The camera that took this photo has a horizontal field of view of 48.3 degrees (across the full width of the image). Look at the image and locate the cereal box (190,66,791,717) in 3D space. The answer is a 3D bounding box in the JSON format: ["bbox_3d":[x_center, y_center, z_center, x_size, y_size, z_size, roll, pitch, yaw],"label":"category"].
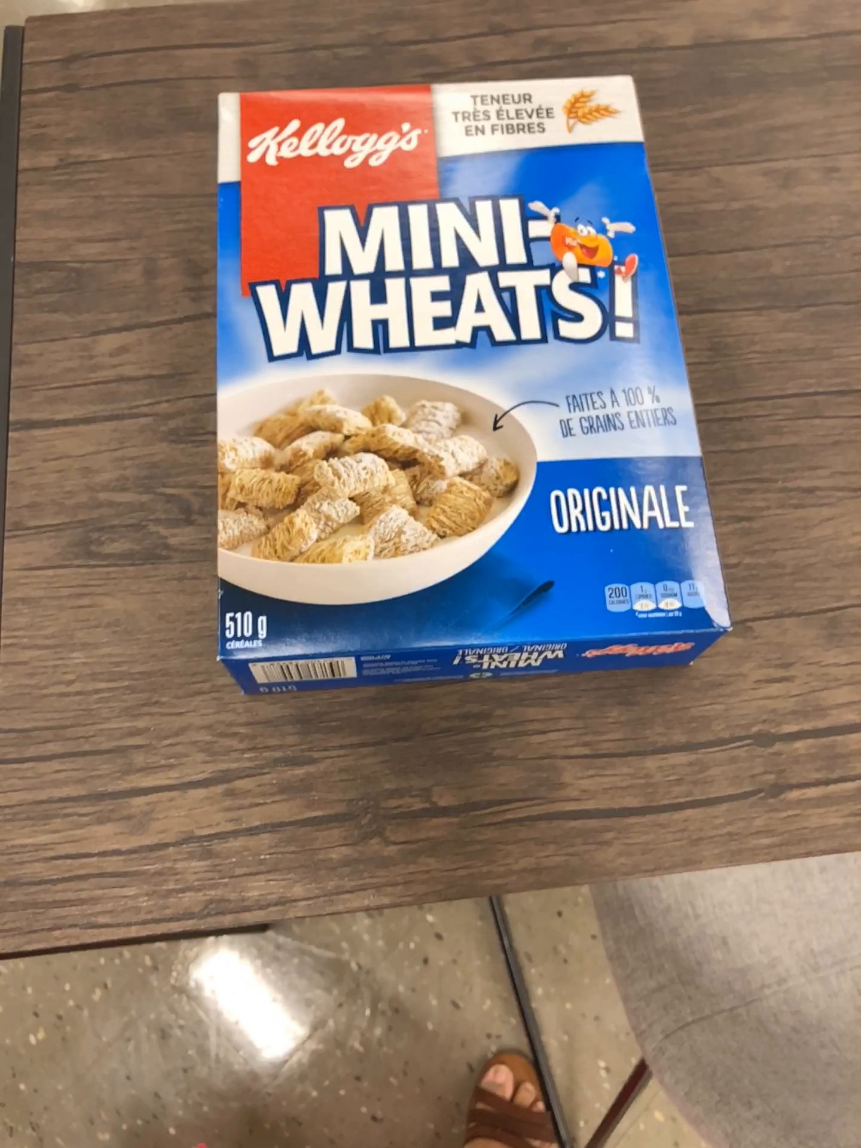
[{"bbox_3d":[0.011,-0.086,0.409,0.210,0.060,0.270,-4,69,-3],"label":"cereal box"}]
